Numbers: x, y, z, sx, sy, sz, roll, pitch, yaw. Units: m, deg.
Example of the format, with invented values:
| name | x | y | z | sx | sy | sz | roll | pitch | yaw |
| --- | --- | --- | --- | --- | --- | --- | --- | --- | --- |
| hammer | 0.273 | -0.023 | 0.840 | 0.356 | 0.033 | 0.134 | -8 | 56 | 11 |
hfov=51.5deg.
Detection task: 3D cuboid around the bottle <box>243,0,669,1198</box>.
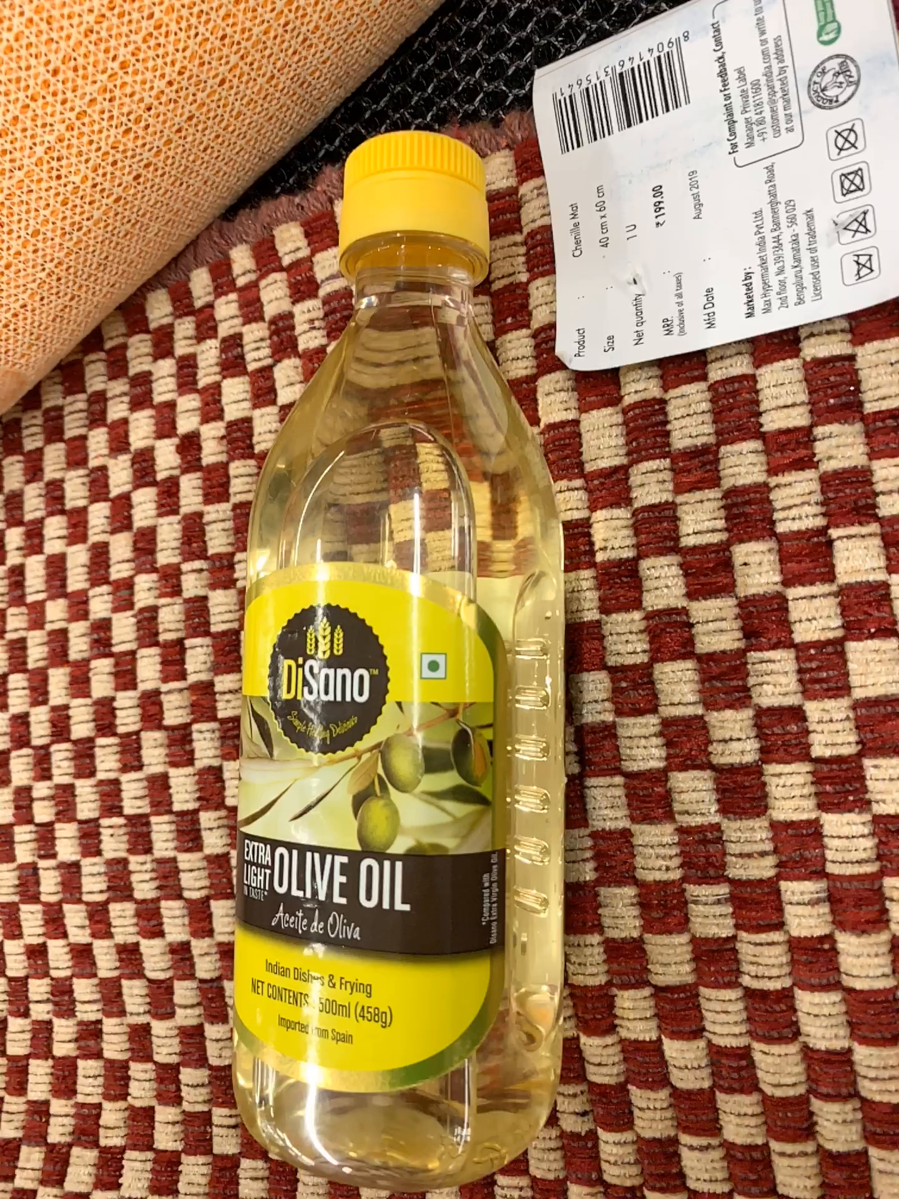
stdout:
| name | x | y | z | sx | sy | sz | roll | pitch | yaw |
| --- | --- | --- | --- | --- | --- | --- | --- | --- | --- |
| bottle | 0.004 | -0.002 | 0.201 | 0.070 | 0.060 | 0.230 | -1 | 87 | 27 |
